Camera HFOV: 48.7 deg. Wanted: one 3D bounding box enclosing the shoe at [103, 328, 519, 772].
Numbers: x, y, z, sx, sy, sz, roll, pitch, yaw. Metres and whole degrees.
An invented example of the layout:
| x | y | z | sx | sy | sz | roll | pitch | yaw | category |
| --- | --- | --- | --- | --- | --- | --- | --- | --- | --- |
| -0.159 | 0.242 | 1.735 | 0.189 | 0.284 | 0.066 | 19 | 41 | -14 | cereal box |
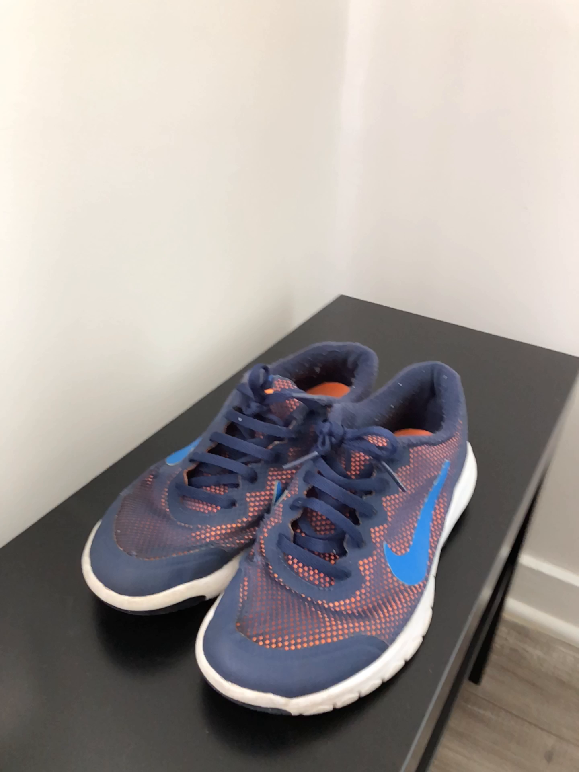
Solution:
| x | y | z | sx | sy | sz | roll | pitch | yaw | category |
| --- | --- | --- | --- | --- | --- | --- | --- | --- | --- |
| 0.035 | 0.071 | 0.367 | 0.120 | 0.089 | 0.261 | 17 | 35 | 23 | shoe |

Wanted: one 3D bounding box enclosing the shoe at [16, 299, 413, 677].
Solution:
| x | y | z | sx | sy | sz | roll | pitch | yaw | category |
| --- | --- | --- | --- | --- | --- | --- | --- | --- | --- |
| -0.027 | 0.040 | 0.419 | 0.100 | 0.089 | 0.260 | 21 | 37 | 28 | shoe |
